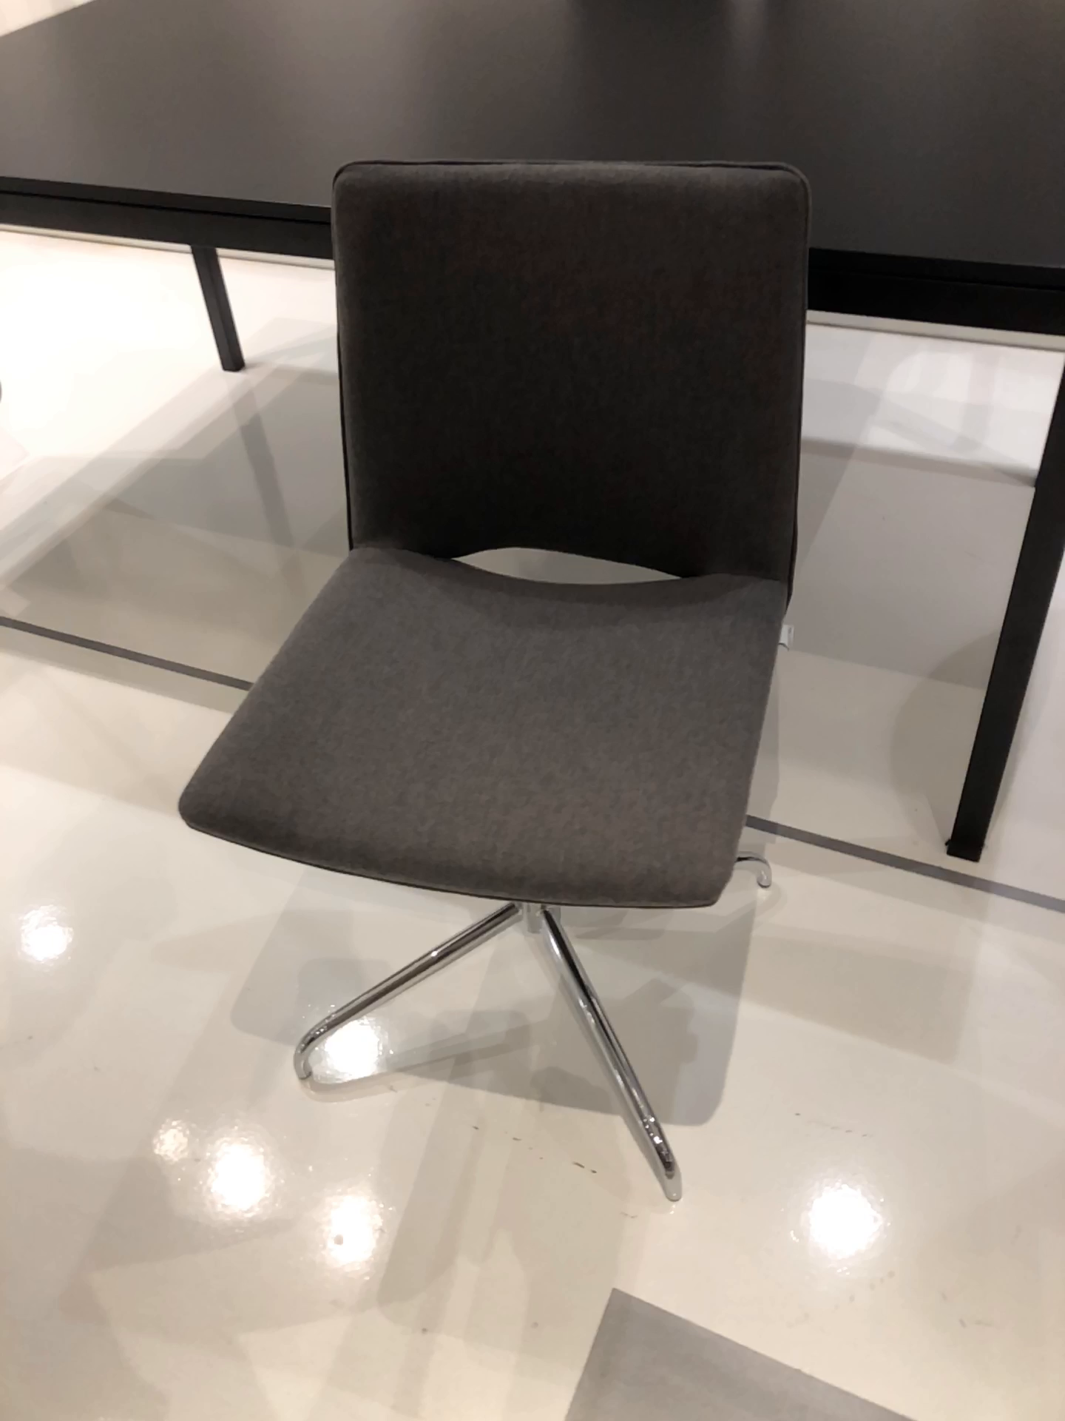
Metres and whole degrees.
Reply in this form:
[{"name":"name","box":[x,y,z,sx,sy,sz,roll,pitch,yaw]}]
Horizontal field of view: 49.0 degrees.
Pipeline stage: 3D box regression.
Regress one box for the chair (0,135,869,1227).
[{"name":"chair","box":[-0.005,-0.016,1.121,0.520,0.834,0.554,6,44,14]}]
